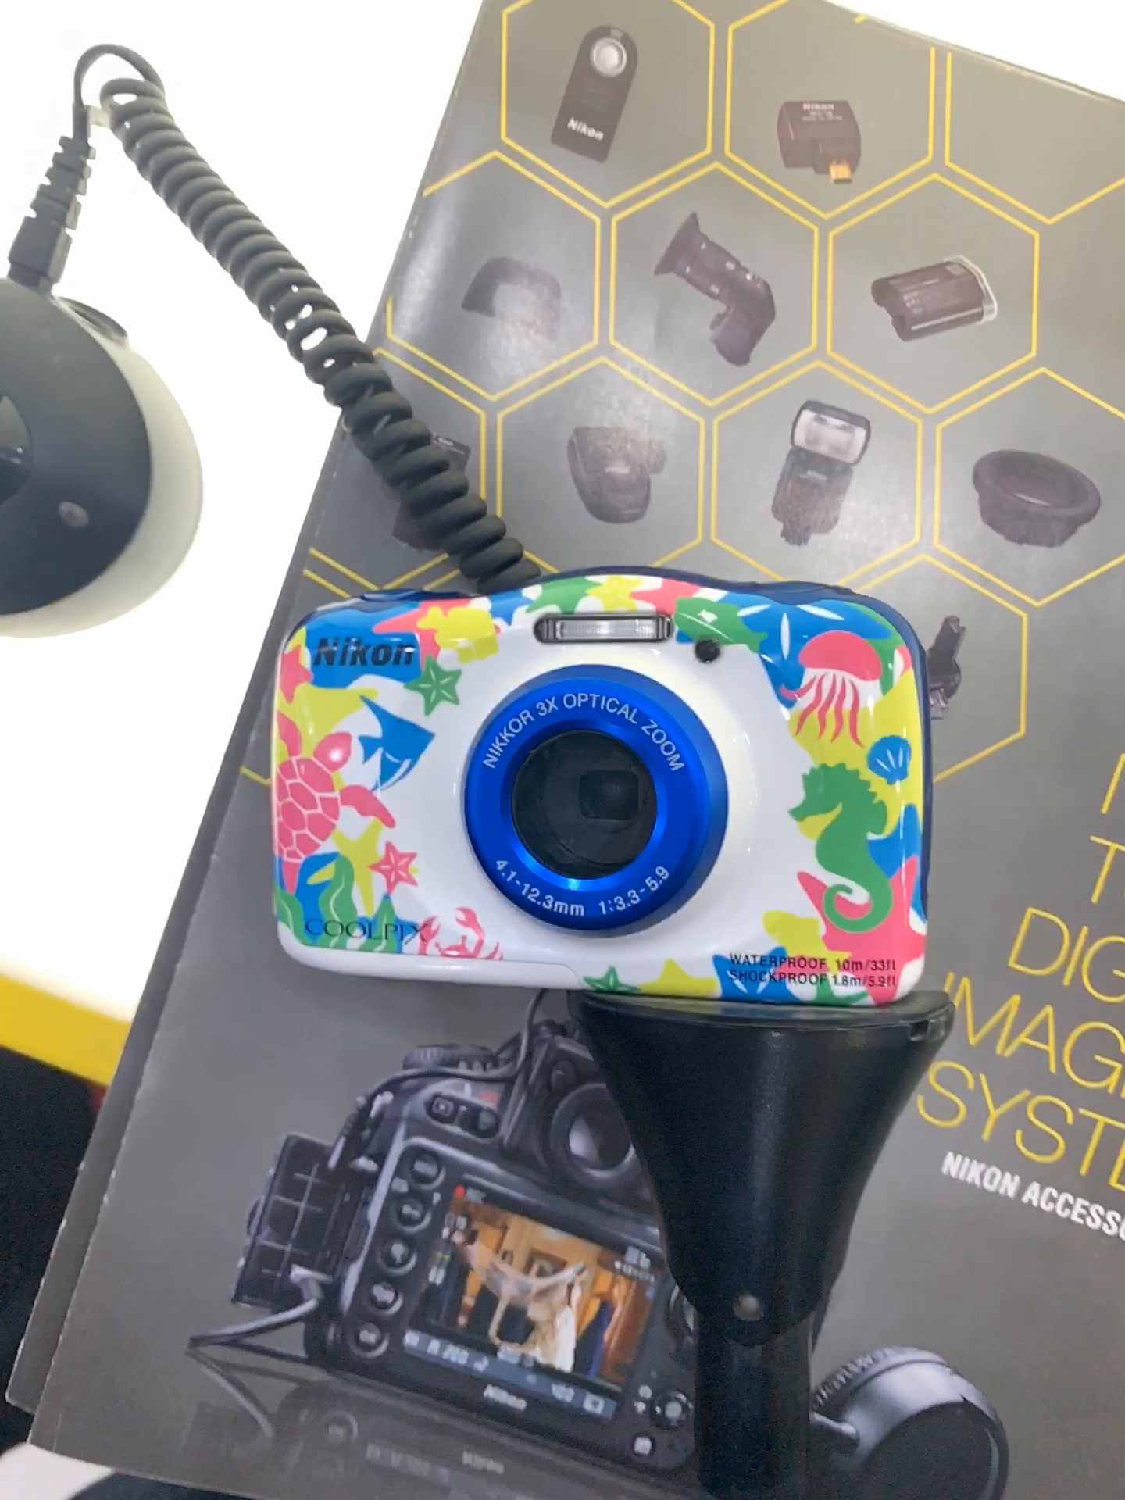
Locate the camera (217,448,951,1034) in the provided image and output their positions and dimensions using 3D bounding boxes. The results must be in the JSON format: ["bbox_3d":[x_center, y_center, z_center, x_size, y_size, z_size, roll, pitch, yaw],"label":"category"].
[{"bbox_3d":[0.003,-0.001,0.189,0.110,0.030,0.080,0,88,14],"label":"camera"}]
